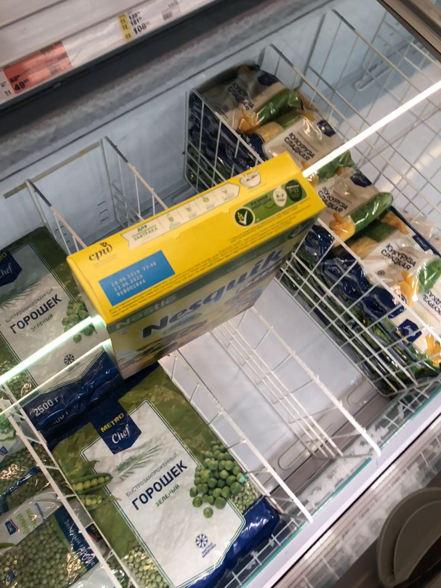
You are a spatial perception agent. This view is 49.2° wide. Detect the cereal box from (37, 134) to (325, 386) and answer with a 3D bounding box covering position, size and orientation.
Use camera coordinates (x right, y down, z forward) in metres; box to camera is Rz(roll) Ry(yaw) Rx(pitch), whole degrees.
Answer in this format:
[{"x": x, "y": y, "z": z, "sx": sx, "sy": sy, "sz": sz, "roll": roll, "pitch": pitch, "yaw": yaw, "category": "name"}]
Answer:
[{"x": -0.040, "y": -0.008, "z": 0.480, "sx": 0.200, "sy": 0.279, "sz": 0.070, "roll": -29, "pitch": 78, "yaw": -15, "category": "cereal box"}]
